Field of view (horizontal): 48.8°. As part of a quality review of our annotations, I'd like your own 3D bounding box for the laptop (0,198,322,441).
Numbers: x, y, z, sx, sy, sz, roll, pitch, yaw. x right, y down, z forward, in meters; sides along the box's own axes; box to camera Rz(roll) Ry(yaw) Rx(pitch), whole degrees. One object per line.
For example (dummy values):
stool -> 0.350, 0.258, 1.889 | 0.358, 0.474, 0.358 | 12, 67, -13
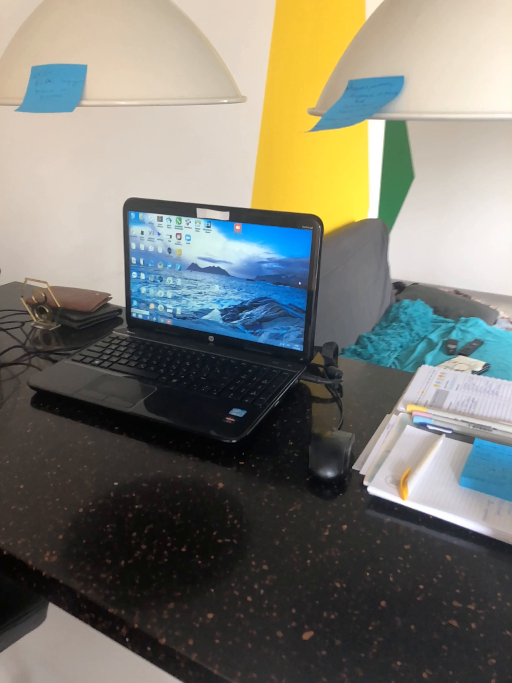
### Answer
laptop -> -0.124, -0.063, 0.836 | 0.361, 0.217, 0.268 | 11, 27, 25
